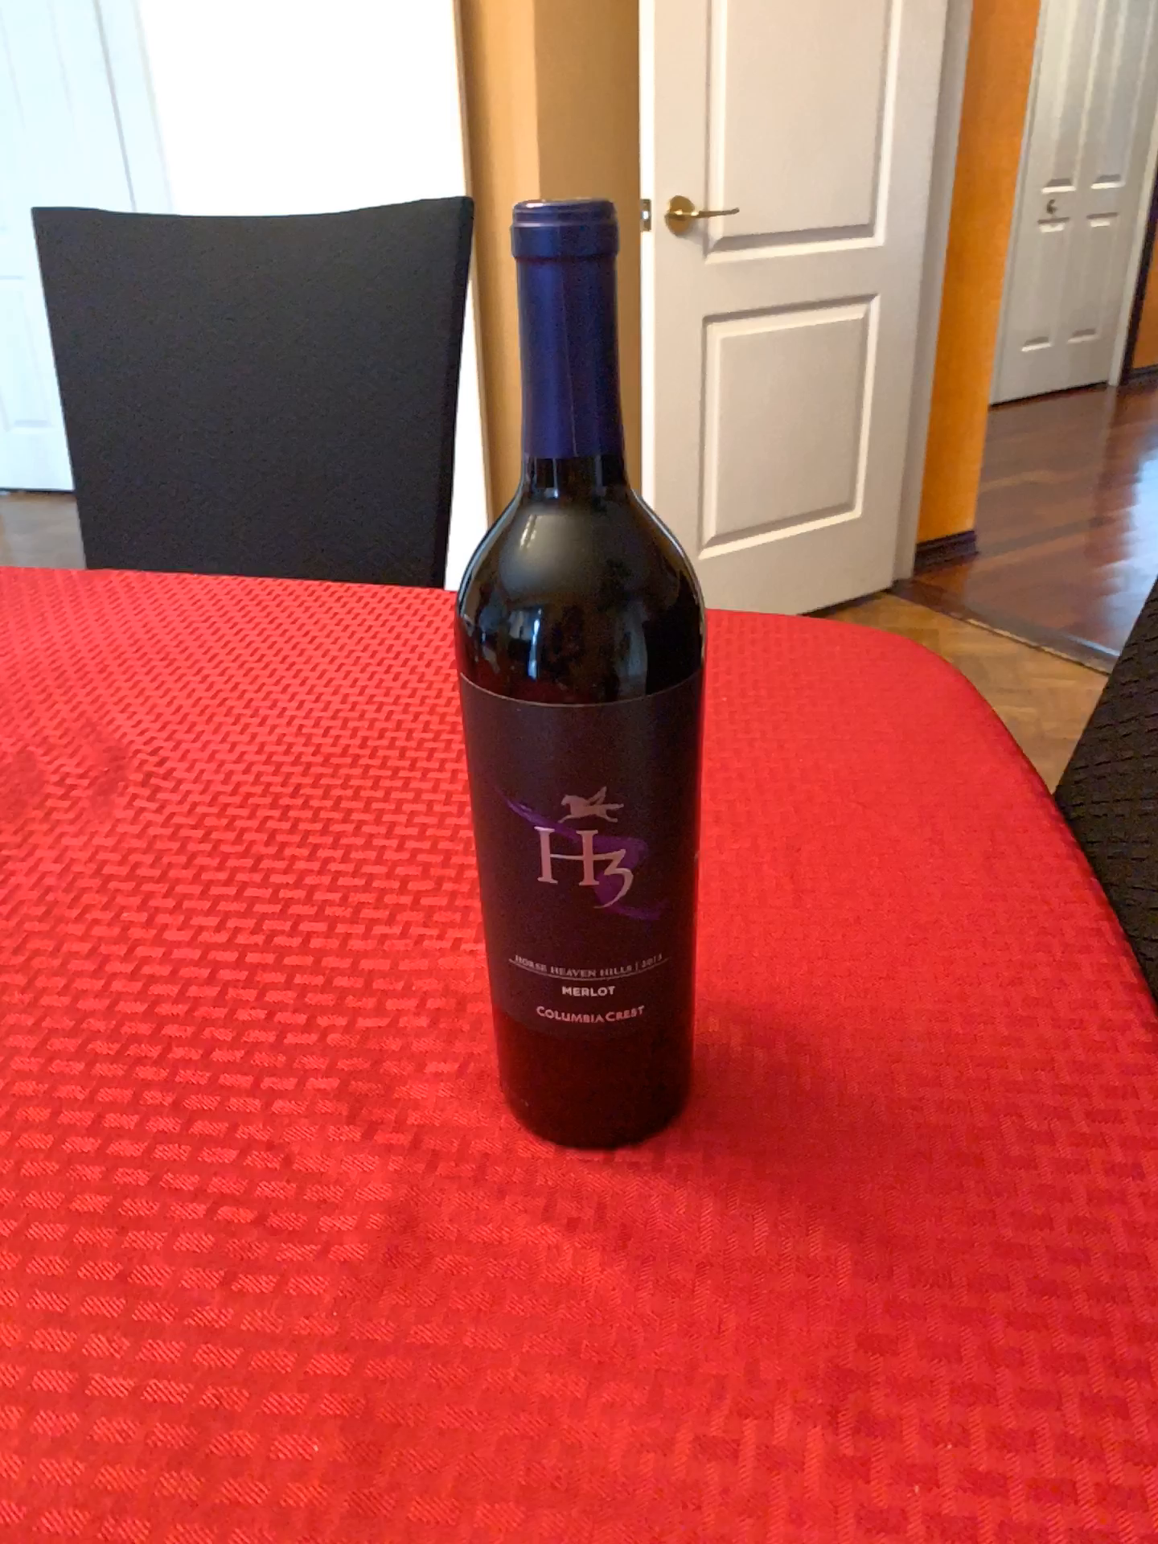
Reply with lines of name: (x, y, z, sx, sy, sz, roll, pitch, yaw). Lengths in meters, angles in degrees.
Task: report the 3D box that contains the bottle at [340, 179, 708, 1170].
bottle: (-0.009, -0.016, 0.360, 0.080, 0.288, 0.080, -1, 28, 1)
